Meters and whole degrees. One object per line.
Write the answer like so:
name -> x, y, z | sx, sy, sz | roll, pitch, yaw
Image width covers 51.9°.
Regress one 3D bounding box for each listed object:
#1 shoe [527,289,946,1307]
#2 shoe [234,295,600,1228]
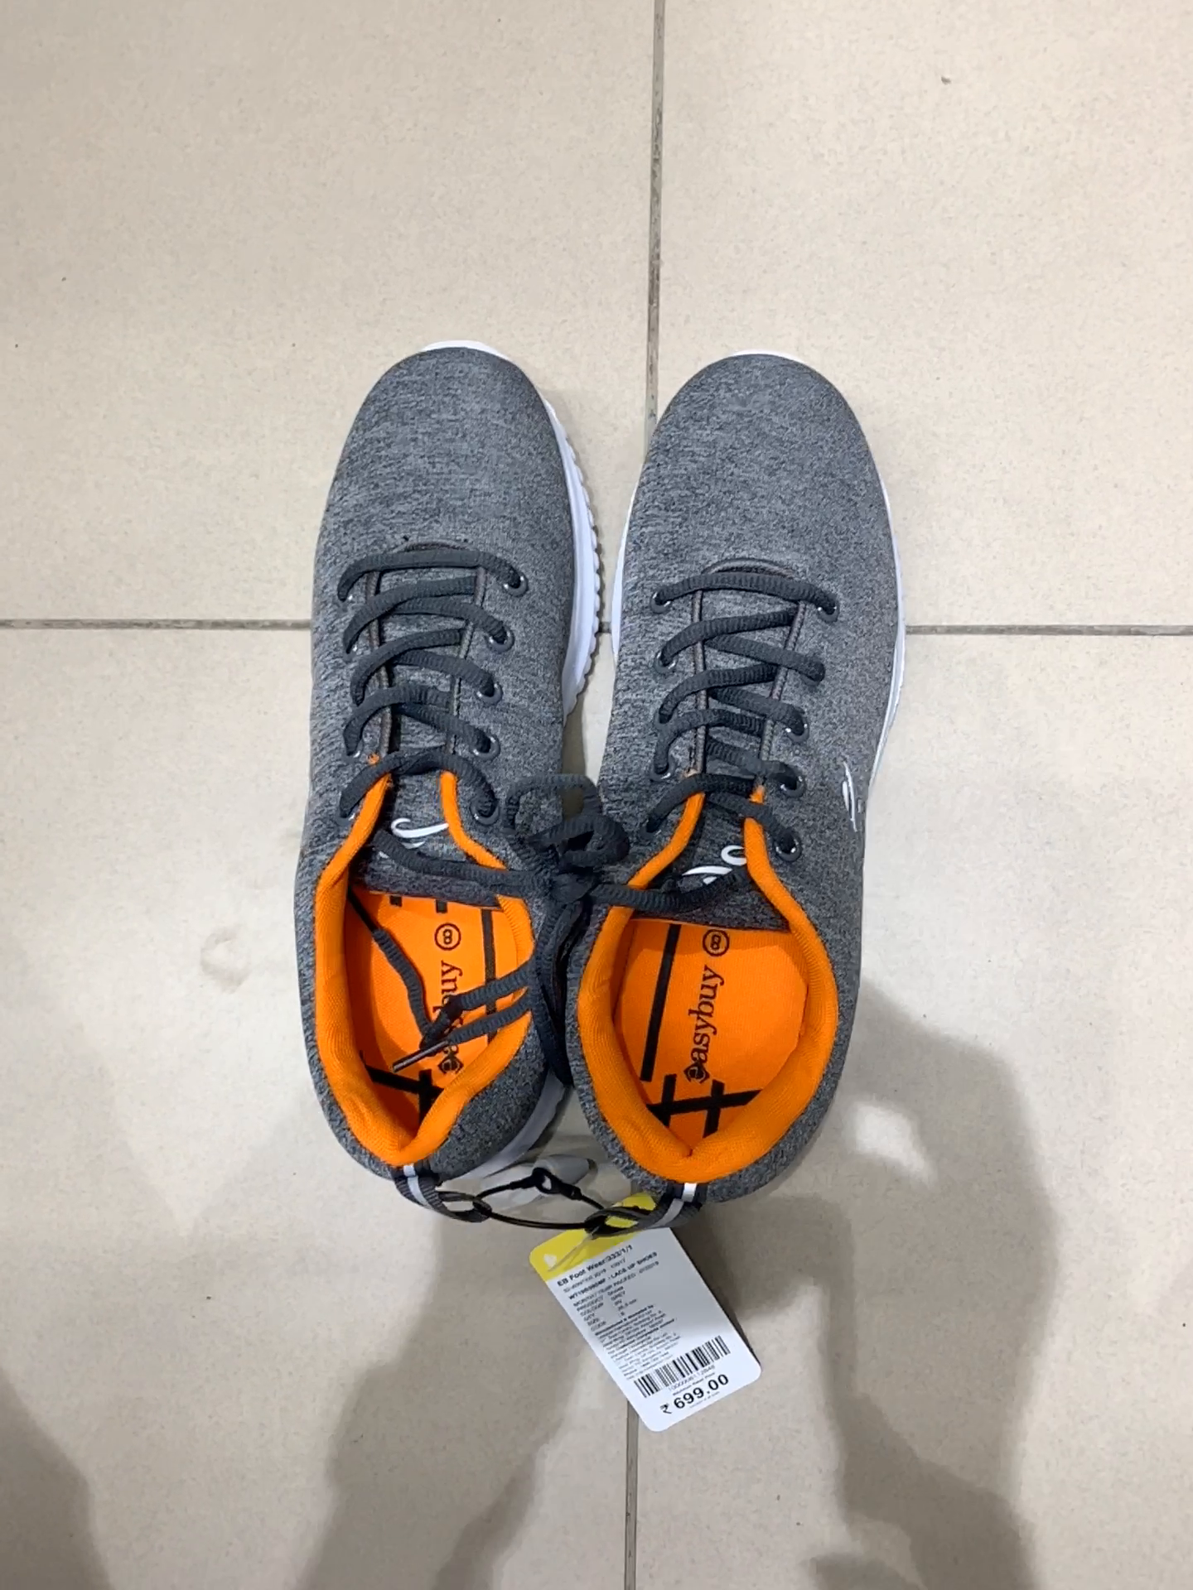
shoe -> 0.048, -0.002, 0.412 | 0.100, 0.090, 0.300 | 5, 84, 5
shoe -> -0.053, -0.010, 0.413 | 0.100, 0.090, 0.280 | -1, 84, 5
